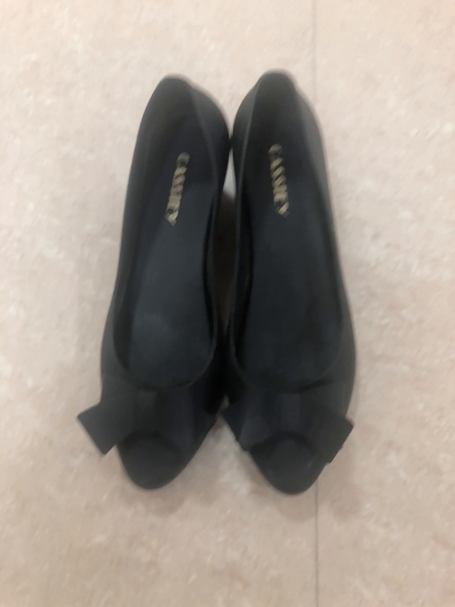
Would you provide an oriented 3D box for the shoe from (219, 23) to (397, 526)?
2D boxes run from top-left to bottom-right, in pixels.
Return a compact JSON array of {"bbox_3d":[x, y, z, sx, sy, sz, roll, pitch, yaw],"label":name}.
[{"bbox_3d":[0.049,-0.026,0.345,0.090,0.090,0.310,0,74,5],"label":"shoe"}]

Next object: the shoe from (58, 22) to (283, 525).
[{"bbox_3d":[-0.022,-0.028,0.346,0.090,0.090,0.310,5,75,7],"label":"shoe"}]
